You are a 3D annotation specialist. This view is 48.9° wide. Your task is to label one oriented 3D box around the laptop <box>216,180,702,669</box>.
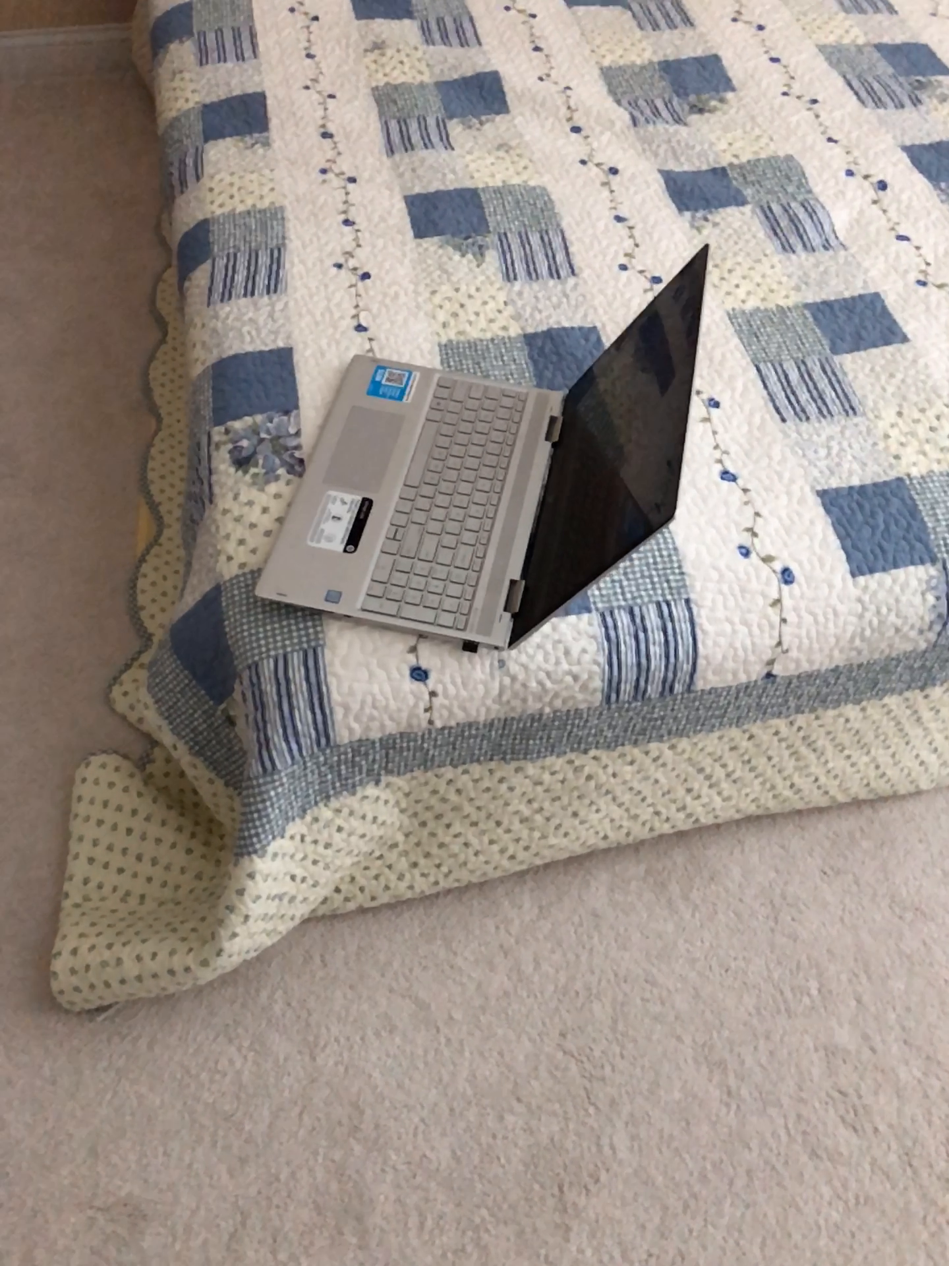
[{"bbox_3d":[0.005,-0.207,0.994,0.357,0.208,0.356,11,54,5],"label":"laptop"}]
